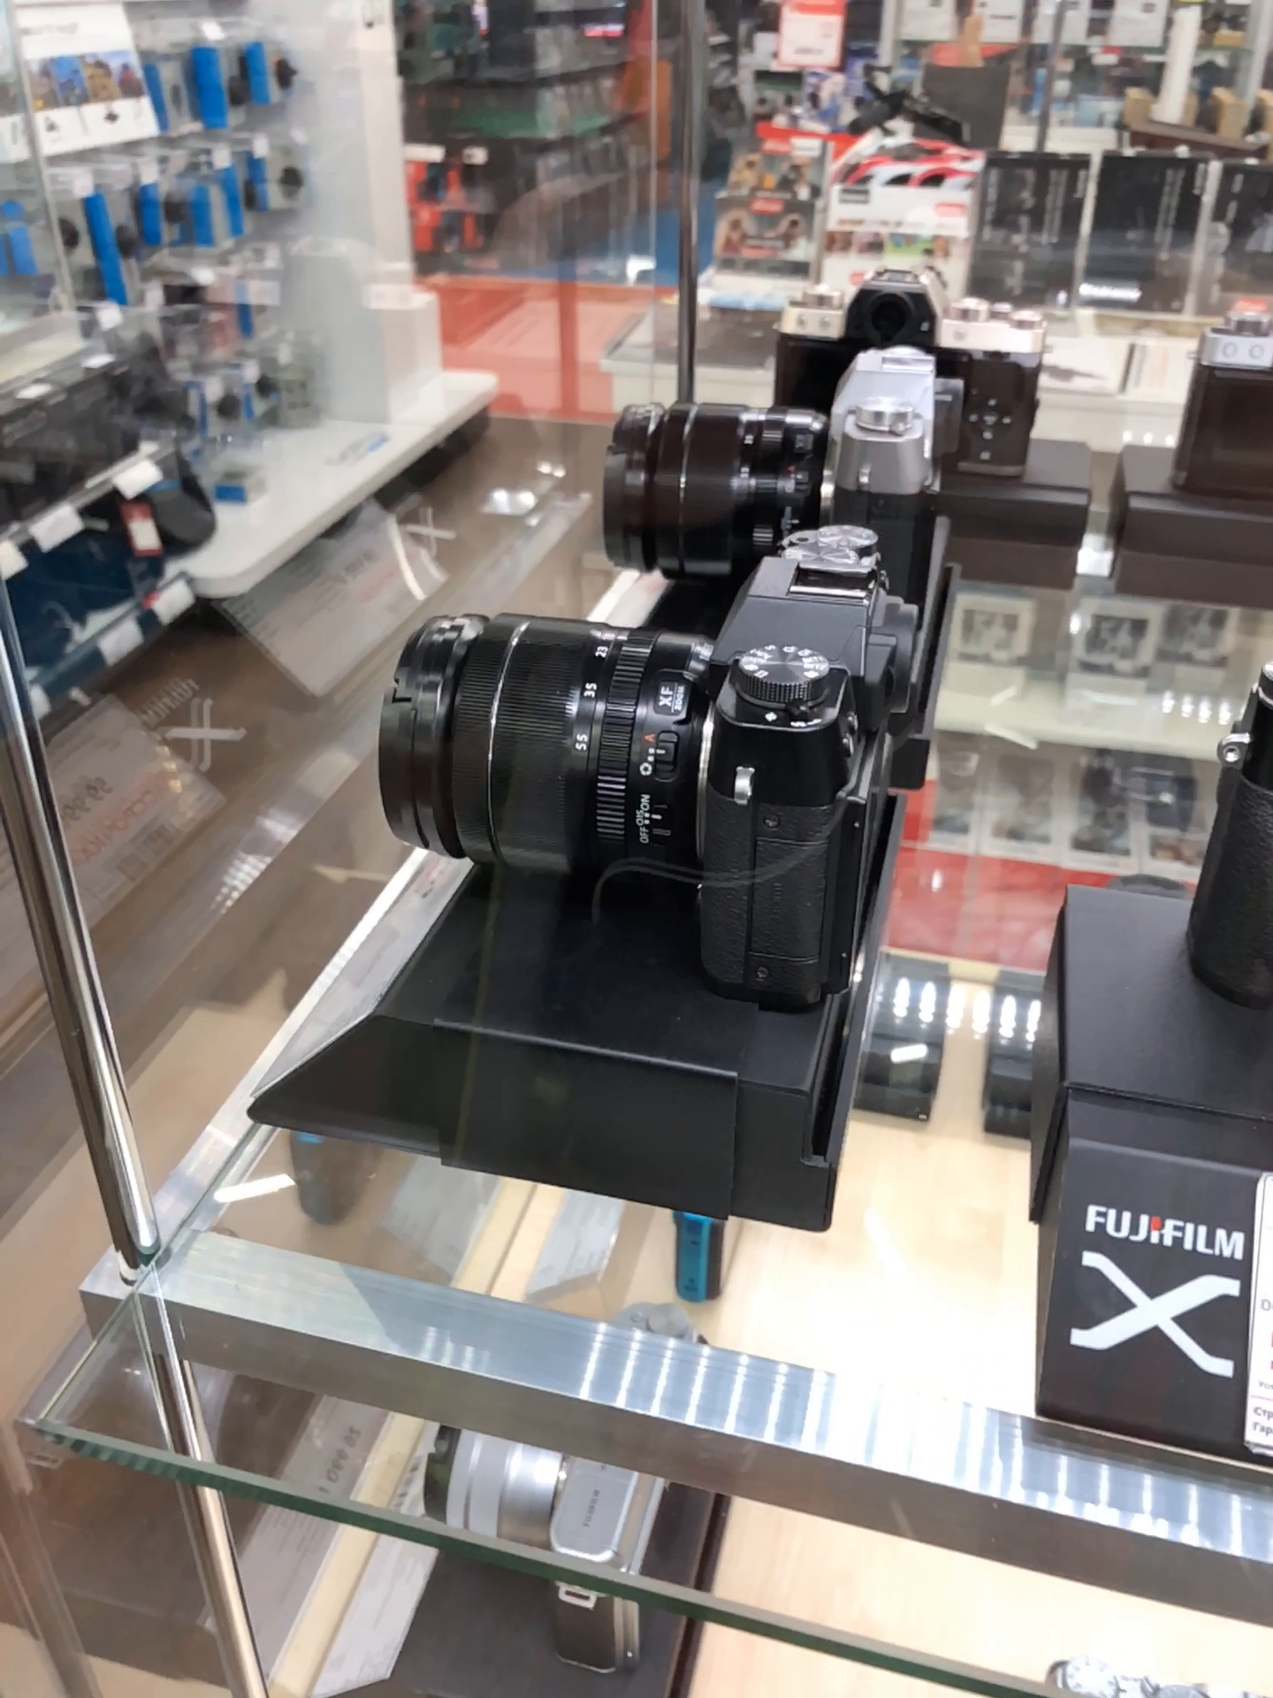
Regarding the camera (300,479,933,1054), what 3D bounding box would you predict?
[{"bbox_3d":[0.003,-0.029,0.350,0.121,0.081,0.121,8,32,12],"label":"camera"}]
